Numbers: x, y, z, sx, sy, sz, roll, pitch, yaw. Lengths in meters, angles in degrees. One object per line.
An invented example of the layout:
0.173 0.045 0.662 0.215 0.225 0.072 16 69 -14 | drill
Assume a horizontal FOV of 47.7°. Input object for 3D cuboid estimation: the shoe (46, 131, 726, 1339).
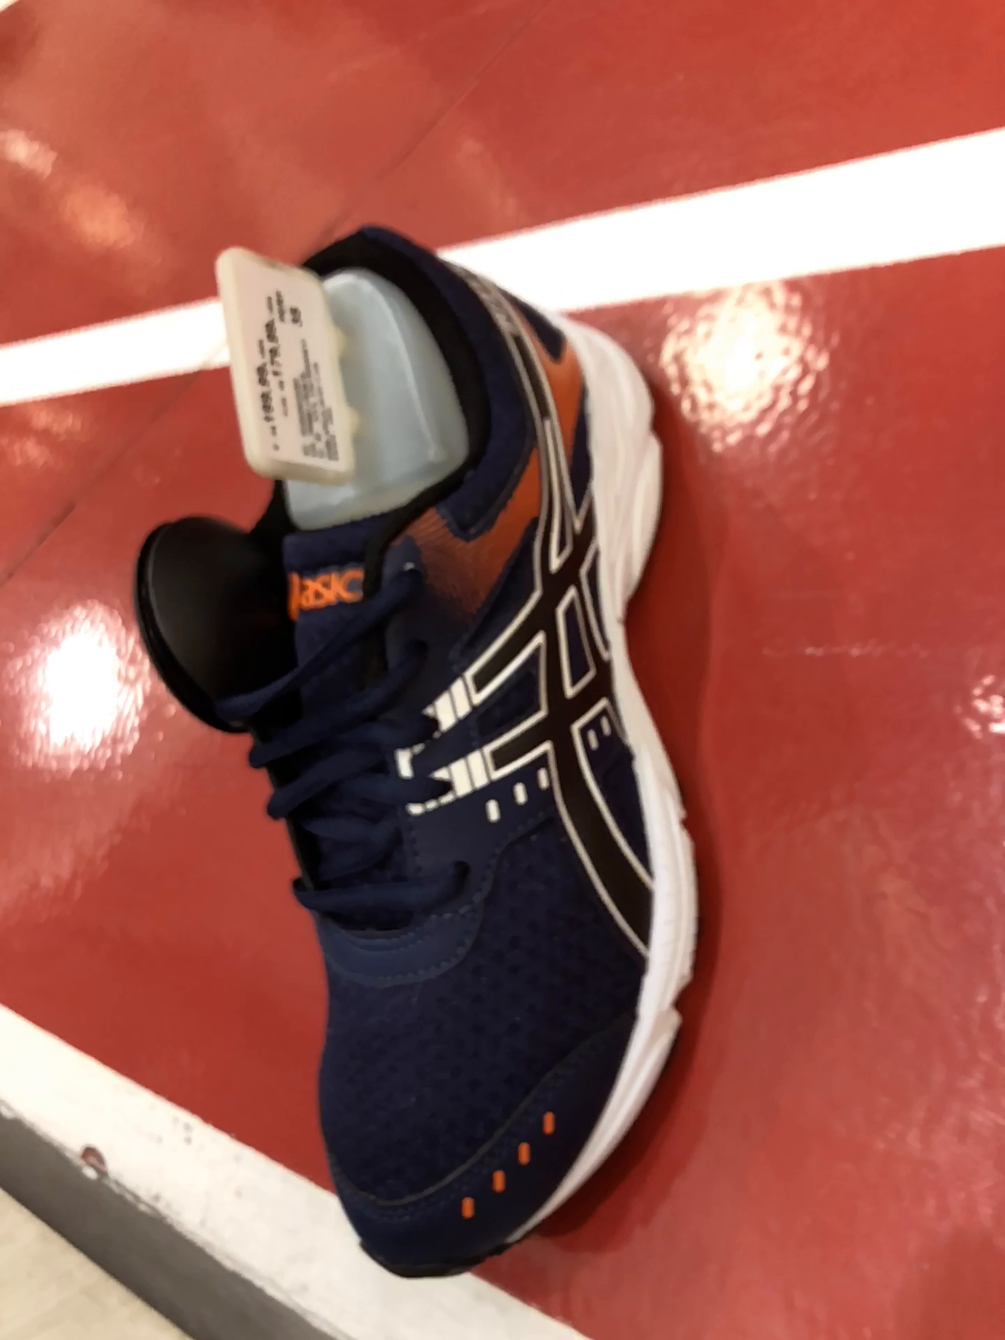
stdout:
-0.015 0.018 0.276 0.100 0.100 0.240 -10 67 36 | shoe
